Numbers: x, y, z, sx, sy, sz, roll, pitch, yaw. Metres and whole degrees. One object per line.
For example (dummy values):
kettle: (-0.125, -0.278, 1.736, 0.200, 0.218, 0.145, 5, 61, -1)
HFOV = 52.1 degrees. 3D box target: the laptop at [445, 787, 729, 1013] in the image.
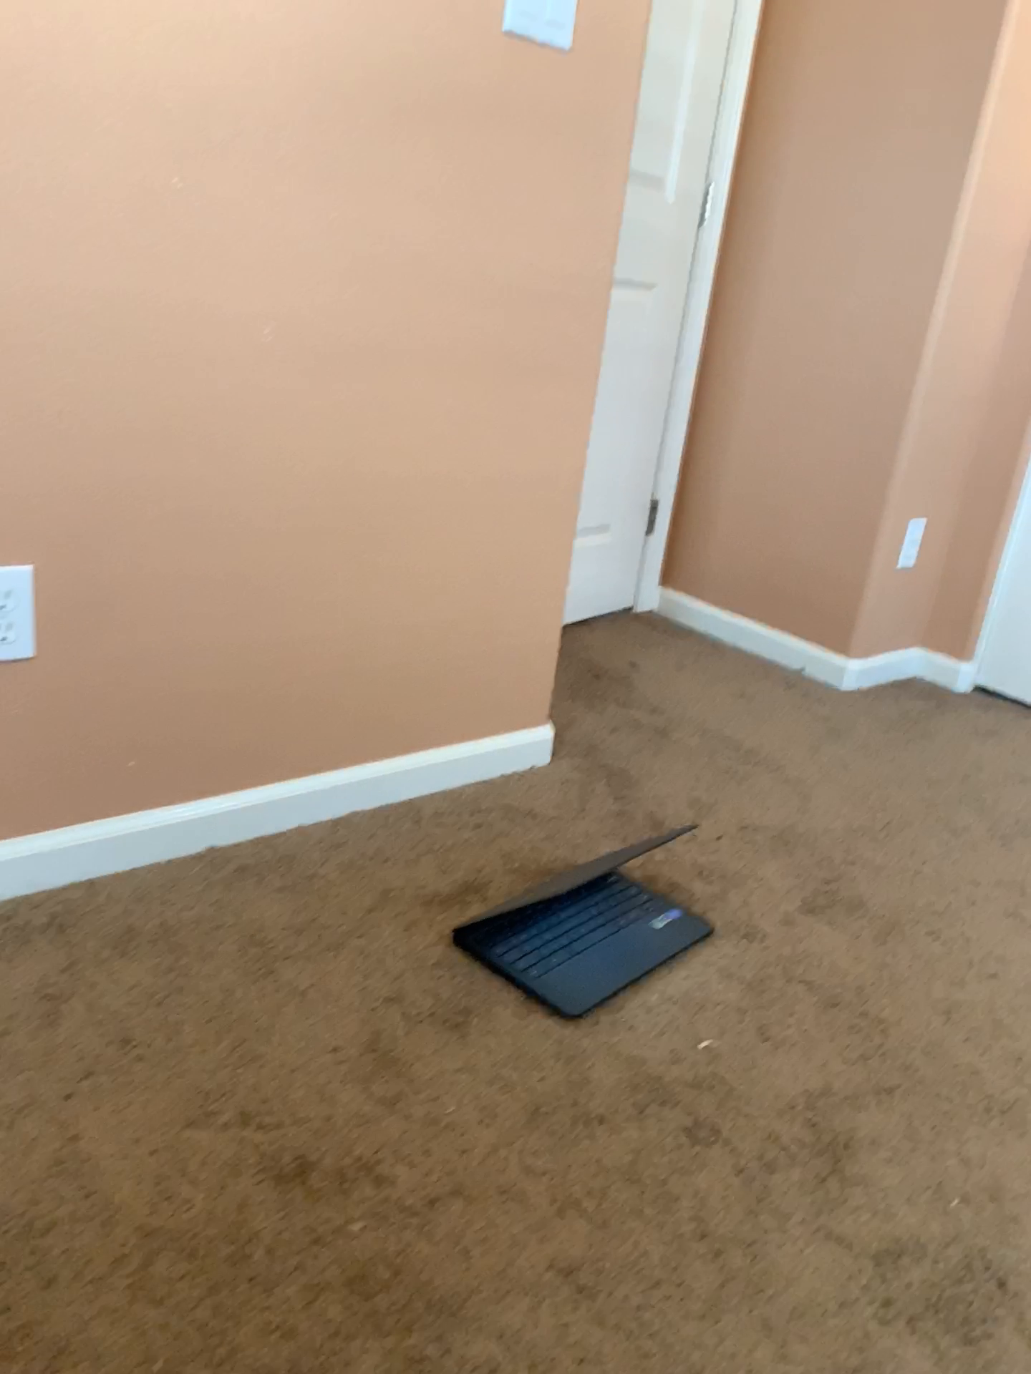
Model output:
laptop: (0.091, 0.250, 1.312, 0.195, 0.127, 0.290, 22, 25, 39)
